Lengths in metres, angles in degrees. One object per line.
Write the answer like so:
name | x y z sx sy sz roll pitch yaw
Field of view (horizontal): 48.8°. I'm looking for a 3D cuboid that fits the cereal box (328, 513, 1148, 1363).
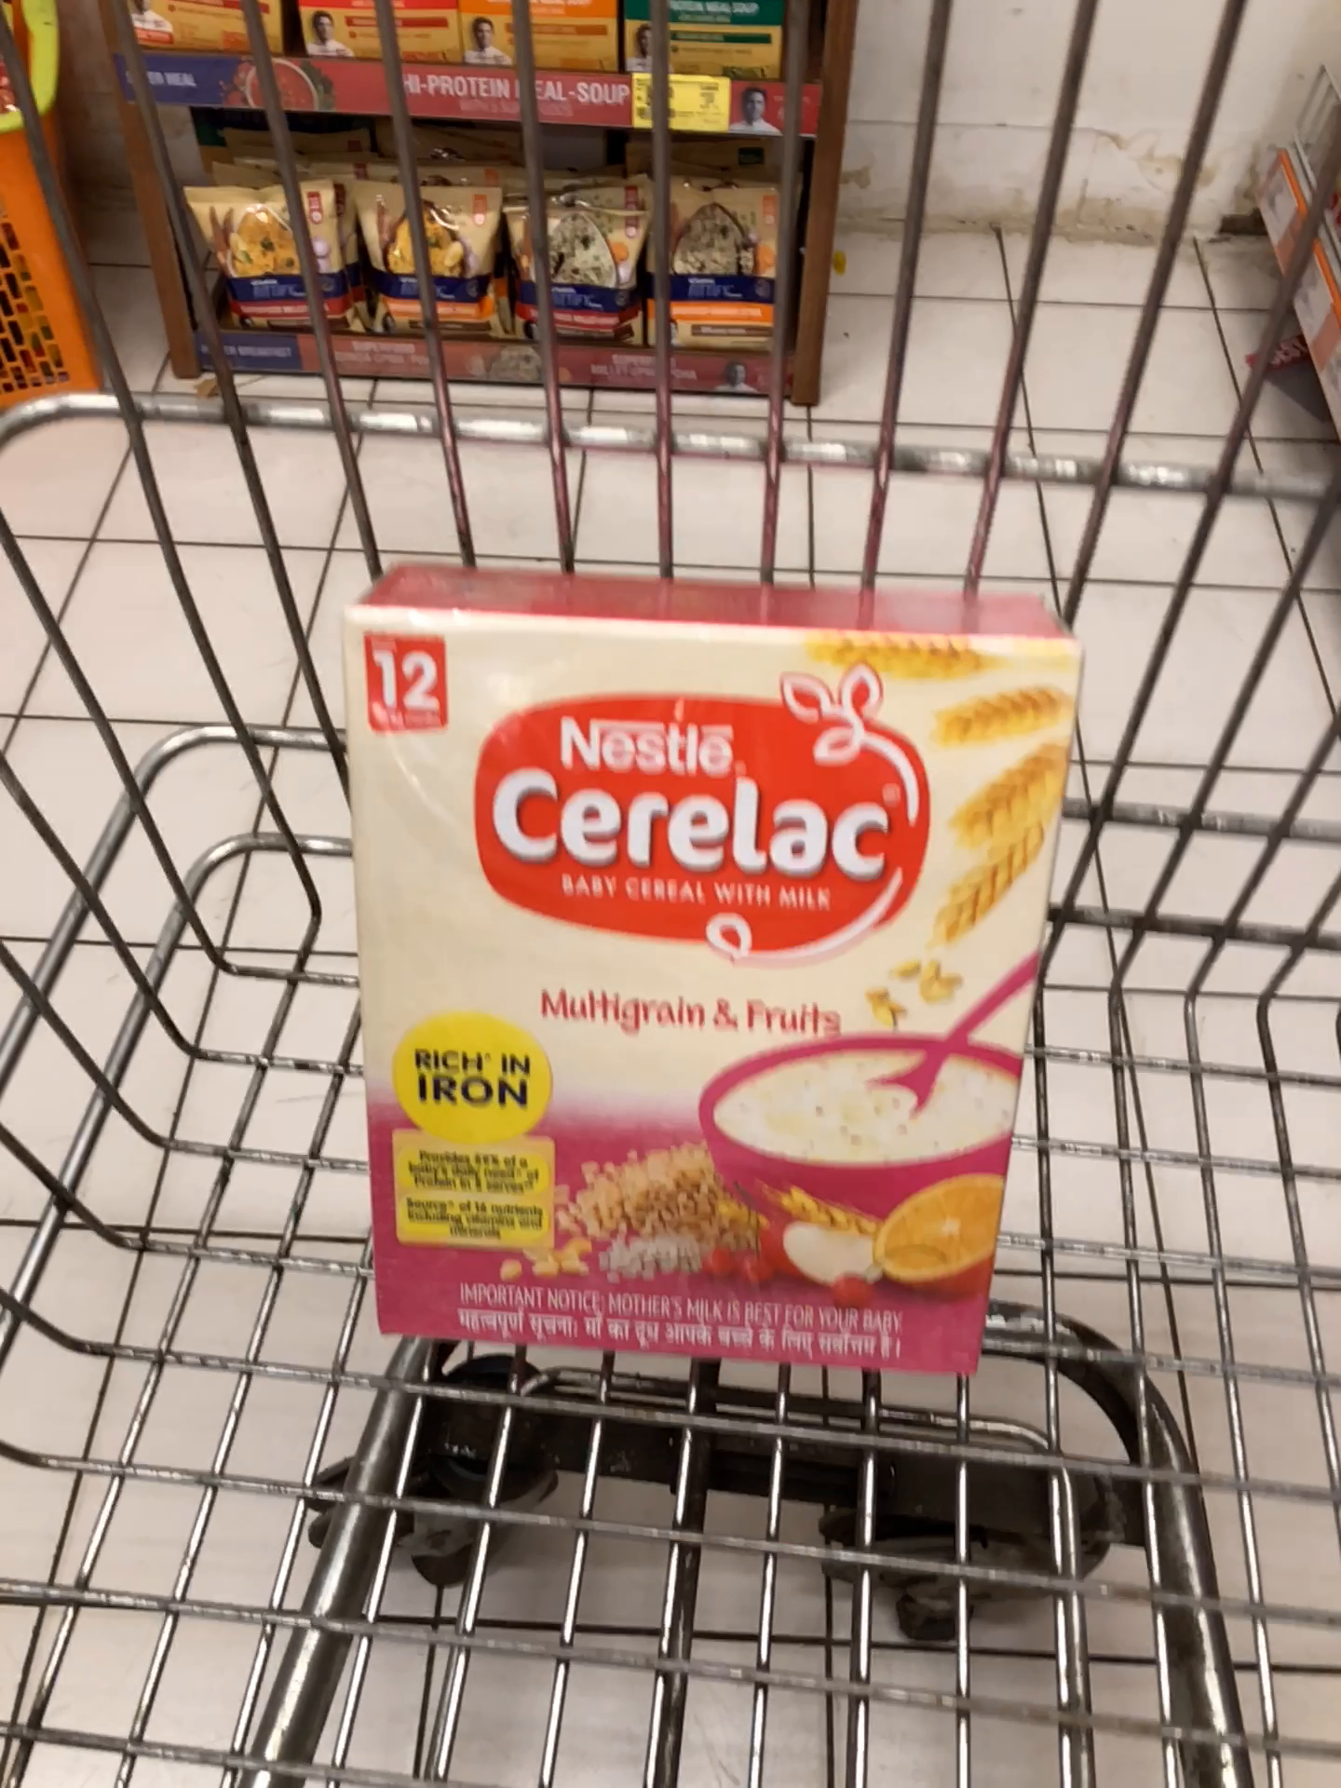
cereal box | 0.010 0.015 0.350 0.160 0.189 0.050 3 25 2
